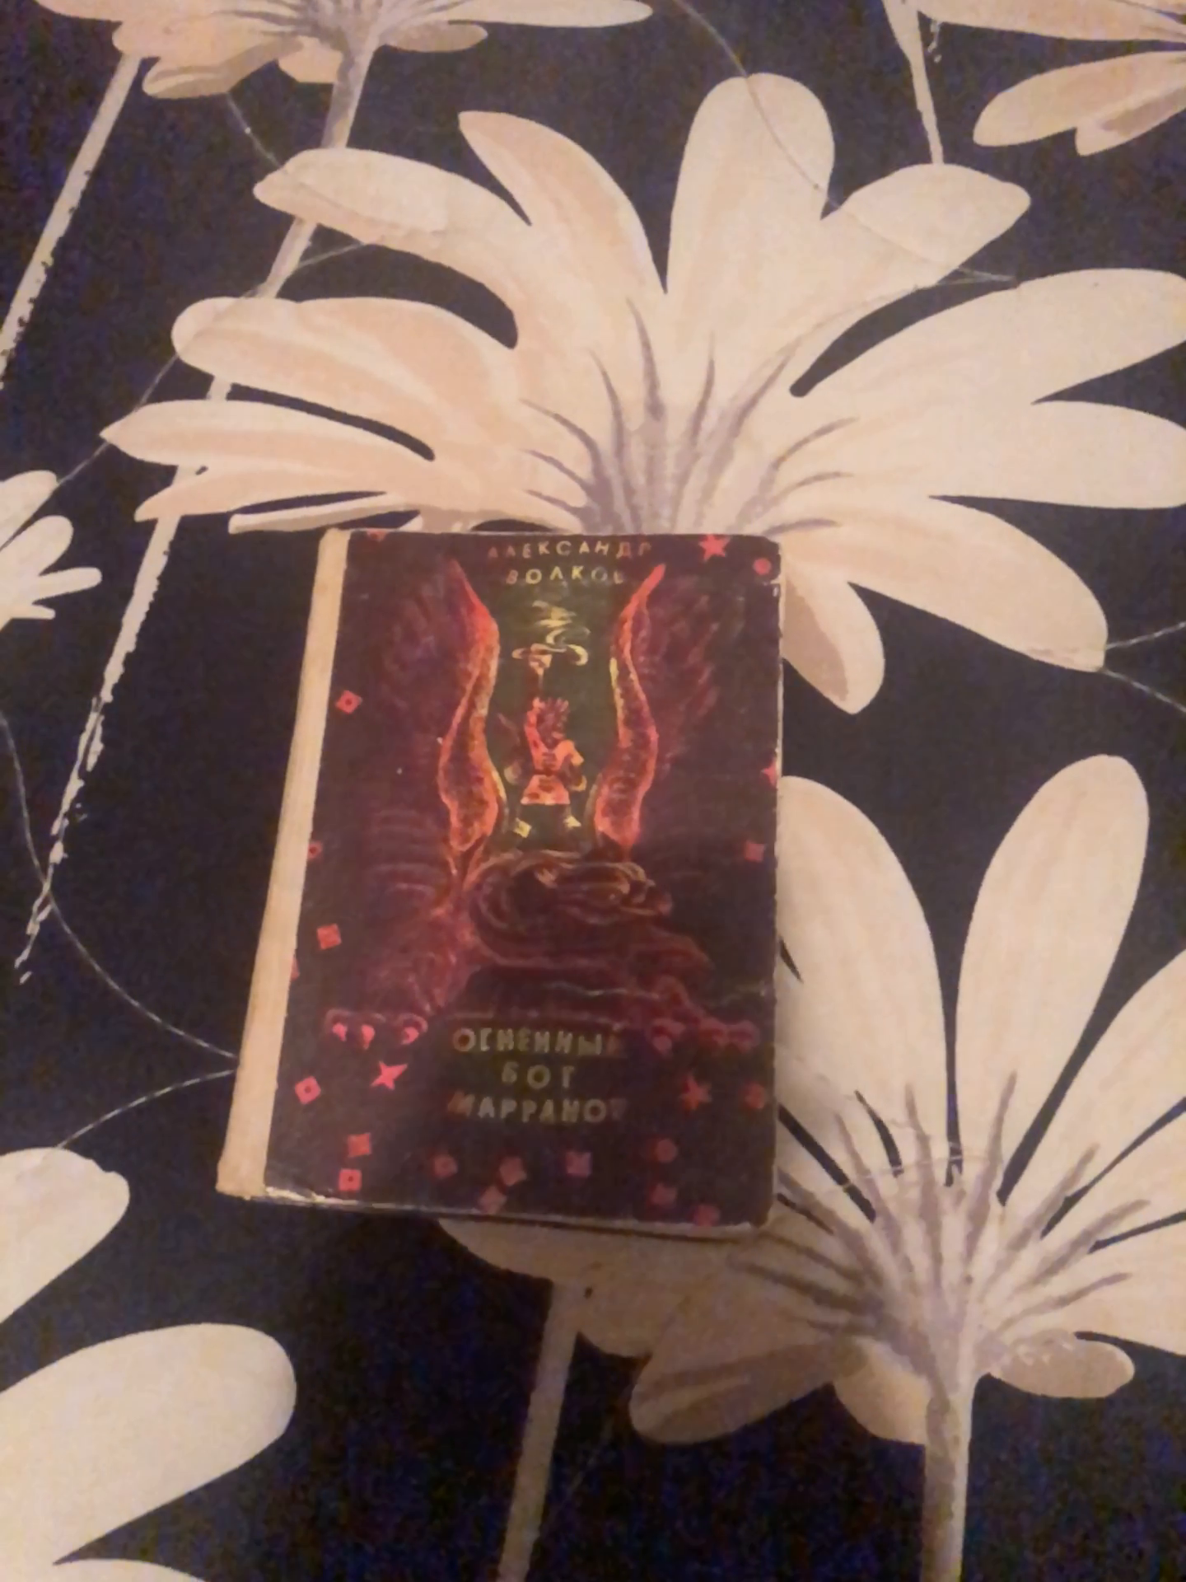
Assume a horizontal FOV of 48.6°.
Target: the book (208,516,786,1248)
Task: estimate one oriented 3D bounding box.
[{"bbox_3d":[-0.022,0.019,0.395,0.152,0.020,0.211,3,73,4],"label":"book"}]
